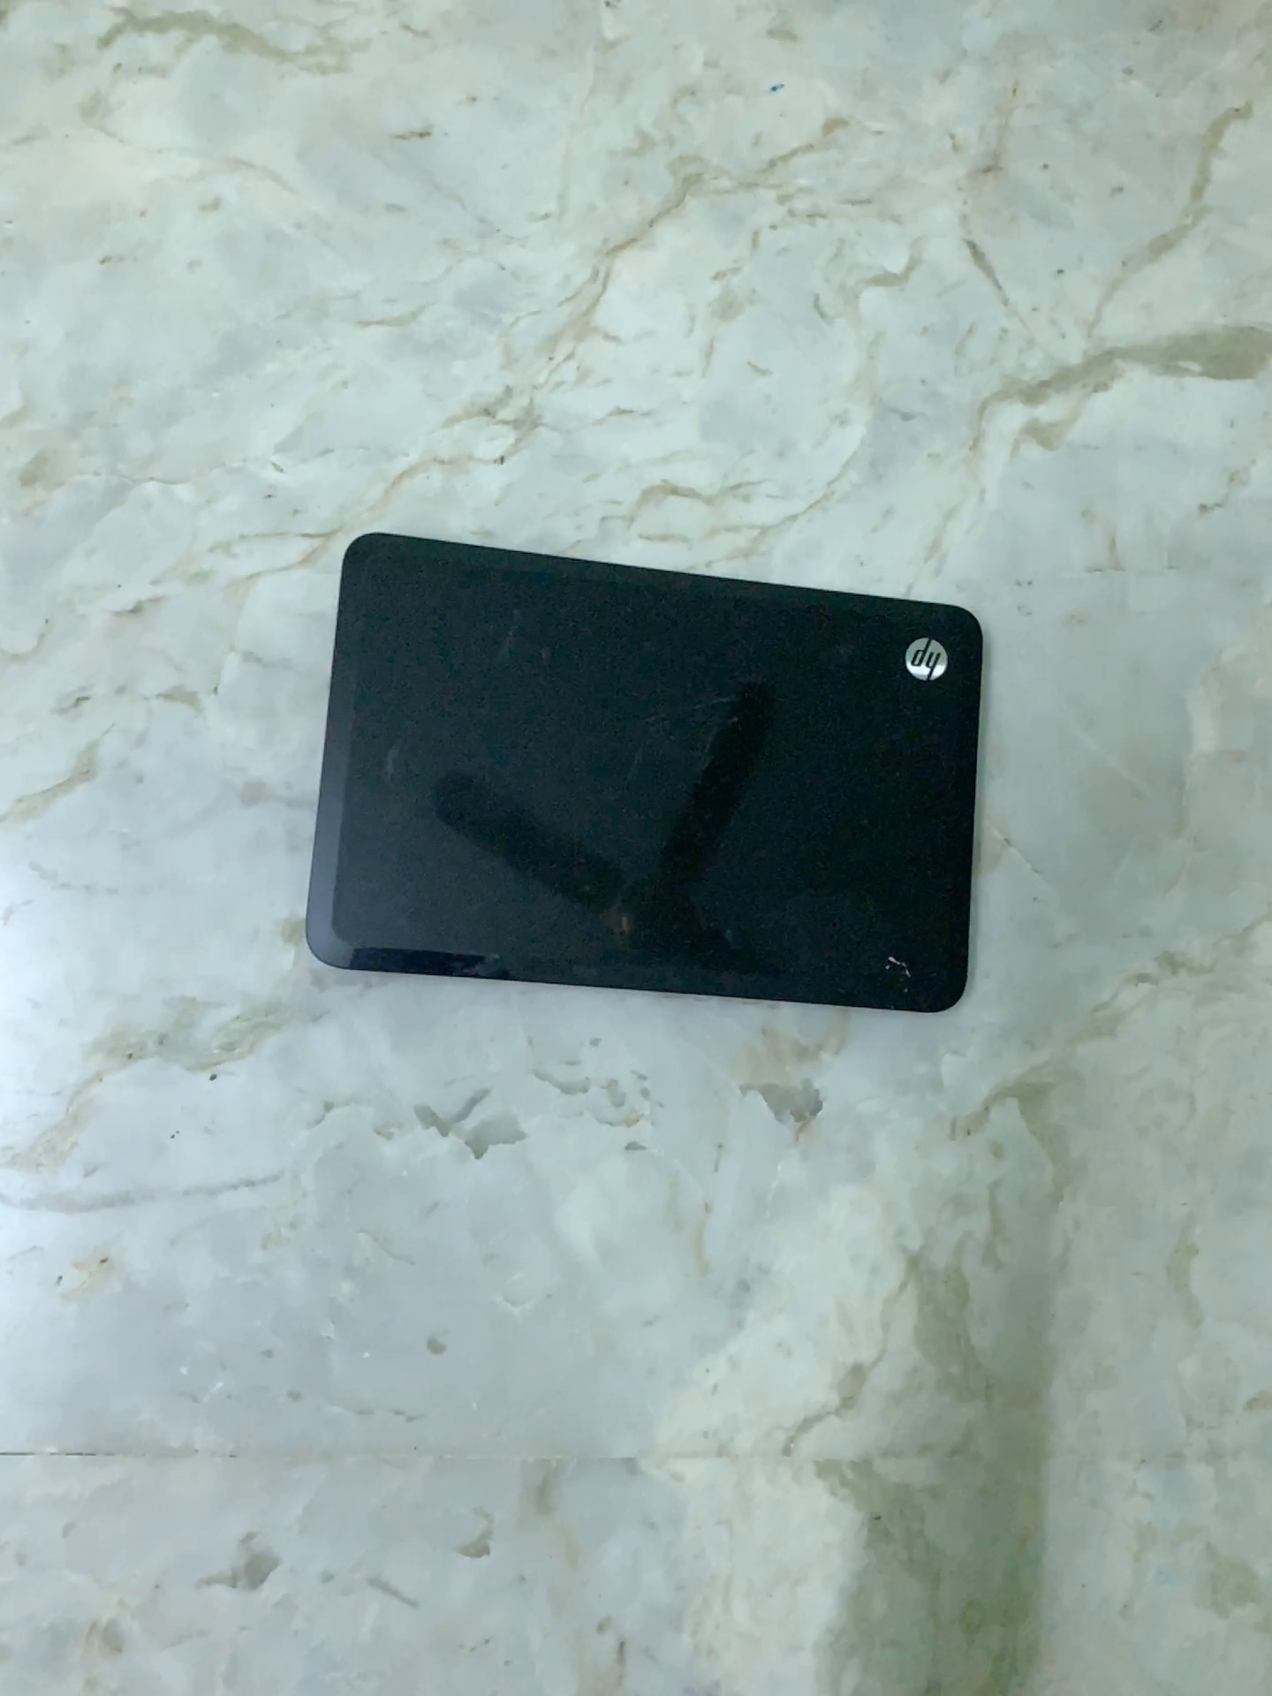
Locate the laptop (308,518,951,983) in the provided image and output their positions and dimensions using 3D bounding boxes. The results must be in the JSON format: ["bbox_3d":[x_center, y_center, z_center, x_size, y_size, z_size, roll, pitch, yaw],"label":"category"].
[{"bbox_3d":[0.007,-0.051,0.697,0.333,0.022,0.222,5,76,-8],"label":"laptop"}]
